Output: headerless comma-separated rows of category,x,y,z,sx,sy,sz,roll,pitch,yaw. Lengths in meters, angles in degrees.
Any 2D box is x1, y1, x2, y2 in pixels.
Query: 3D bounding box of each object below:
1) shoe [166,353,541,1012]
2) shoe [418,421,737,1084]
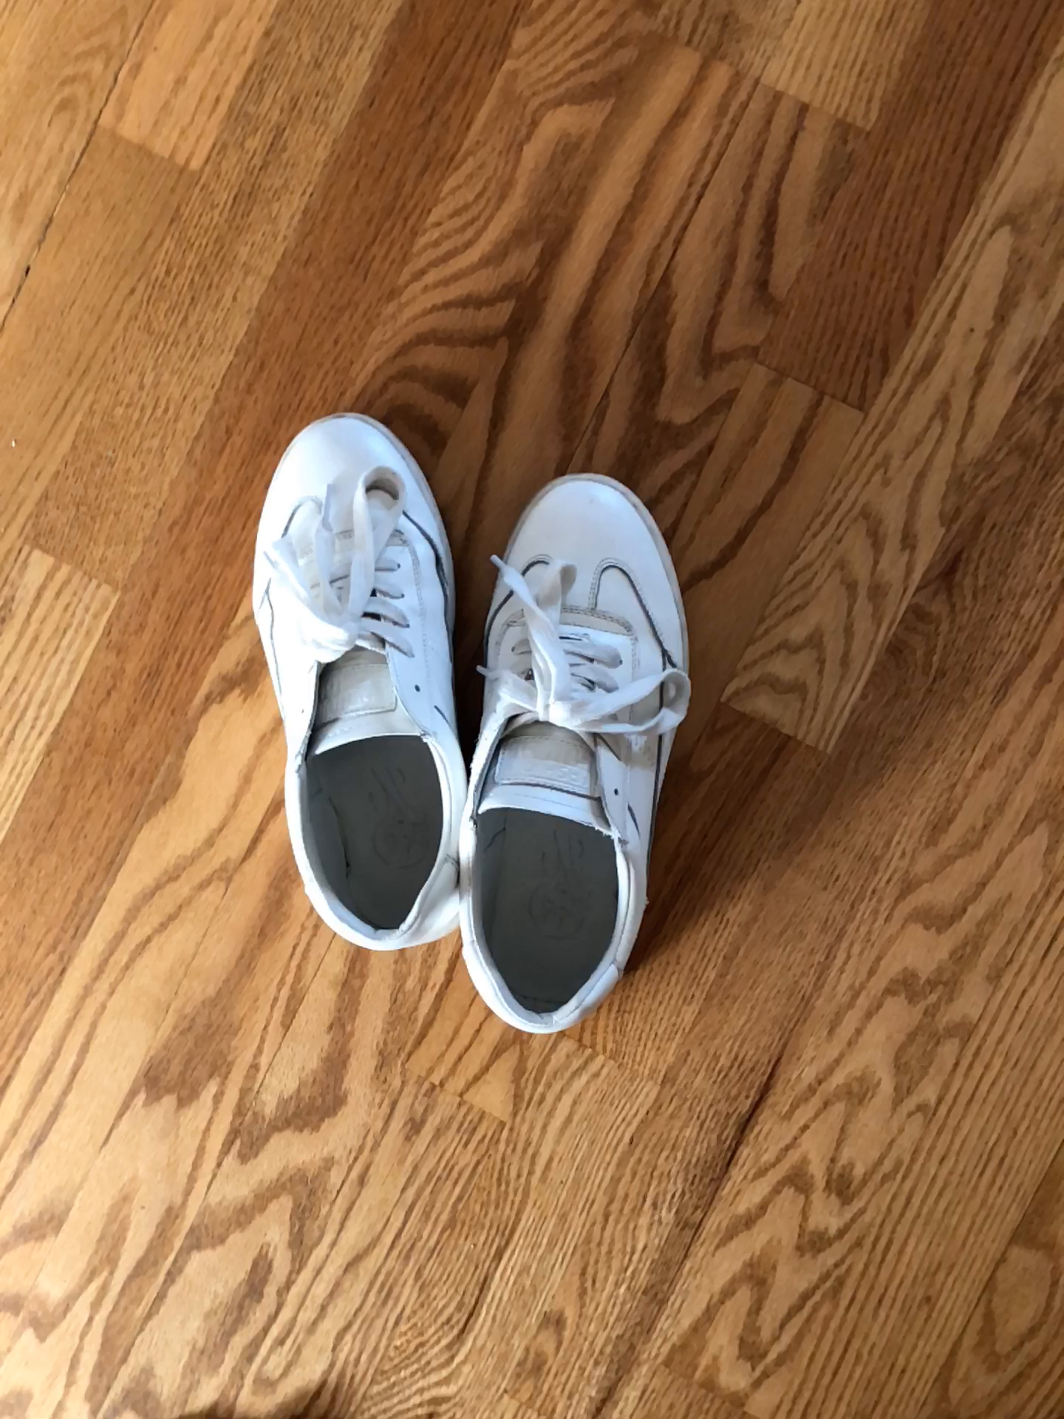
shoe,-0.075,-0.011,0.541,0.102,0.104,0.260,-11,89,5
shoe,0.023,0.016,0.530,0.102,0.107,0.260,6,91,5
